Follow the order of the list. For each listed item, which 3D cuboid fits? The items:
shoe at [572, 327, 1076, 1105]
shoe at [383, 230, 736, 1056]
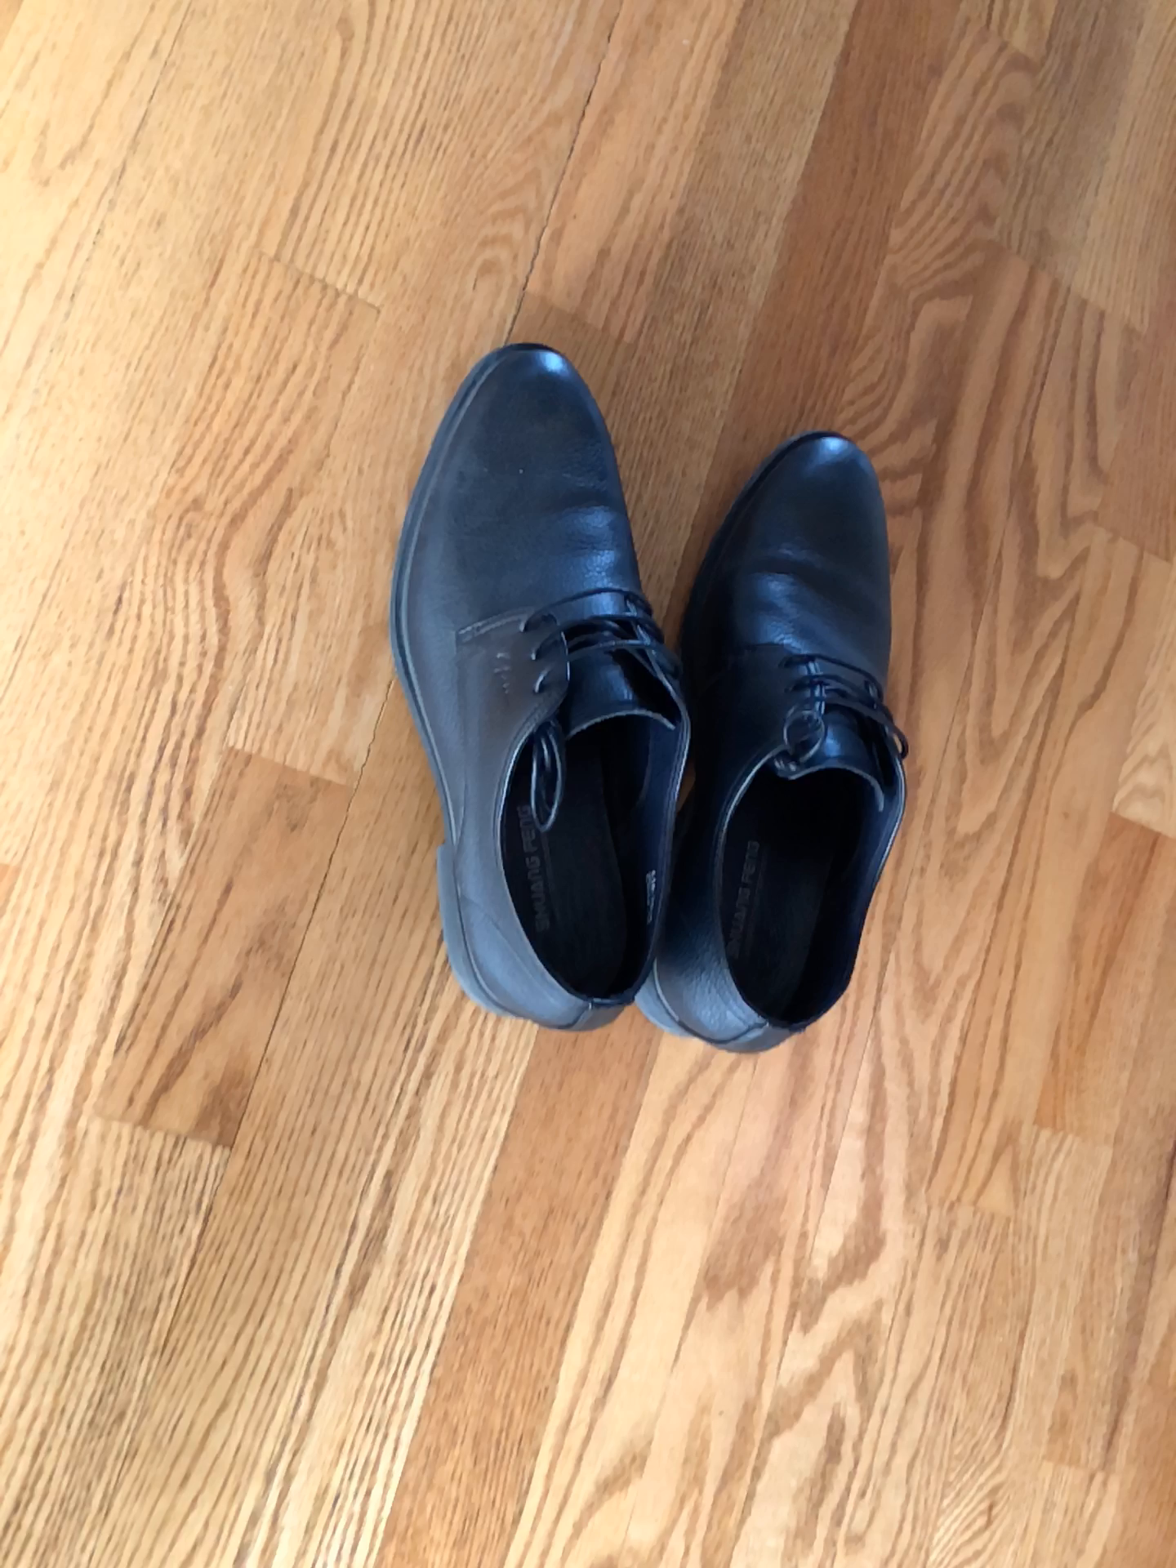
[{"bbox_3d":[0.104,-0.026,0.583,0.110,0.124,0.299,19,79,-20],"label":"shoe"},{"bbox_3d":[-0.018,-0.050,0.548,0.110,0.124,0.304,1,86,-22],"label":"shoe"}]
